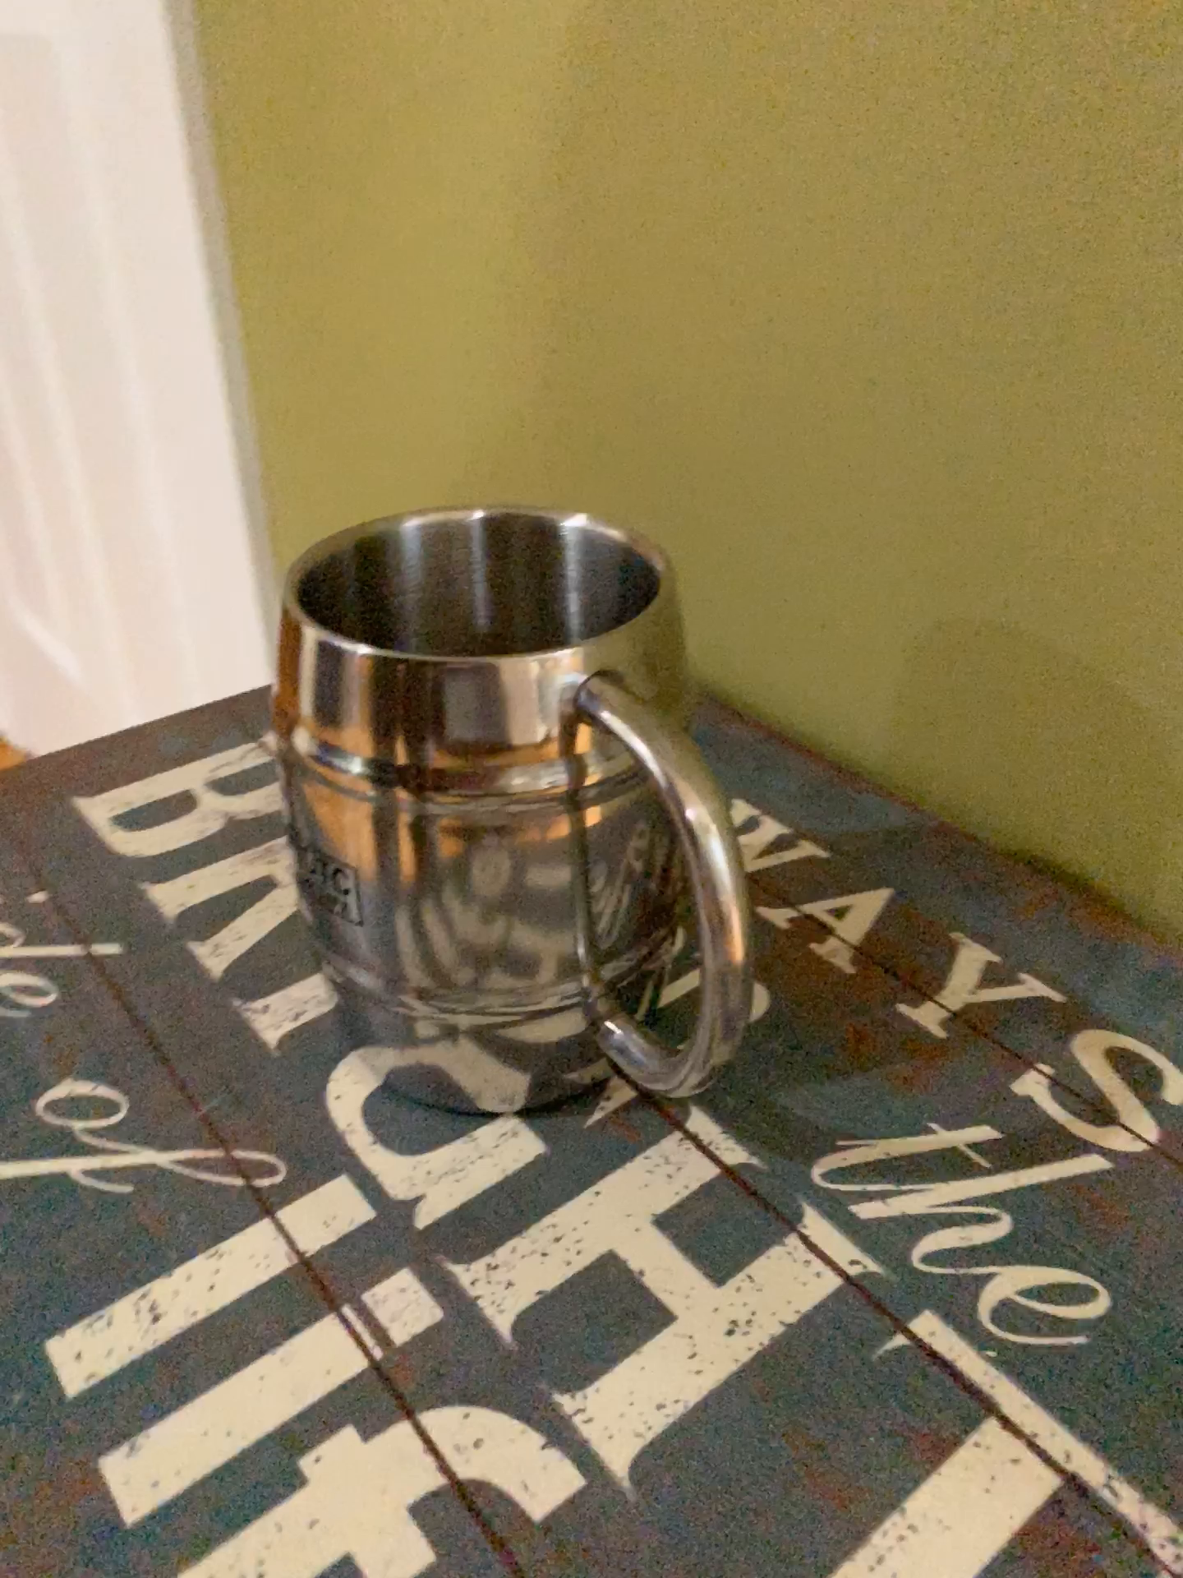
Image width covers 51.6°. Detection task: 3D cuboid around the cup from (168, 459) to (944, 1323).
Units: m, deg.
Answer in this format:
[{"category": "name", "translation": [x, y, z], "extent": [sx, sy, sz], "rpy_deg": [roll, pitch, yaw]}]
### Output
[{"category": "cup", "translation": [-0.012, 0.009, 0.264], "extent": [0.089, 0.113, 0.129], "rpy_deg": [-24, 39, -32]}]
